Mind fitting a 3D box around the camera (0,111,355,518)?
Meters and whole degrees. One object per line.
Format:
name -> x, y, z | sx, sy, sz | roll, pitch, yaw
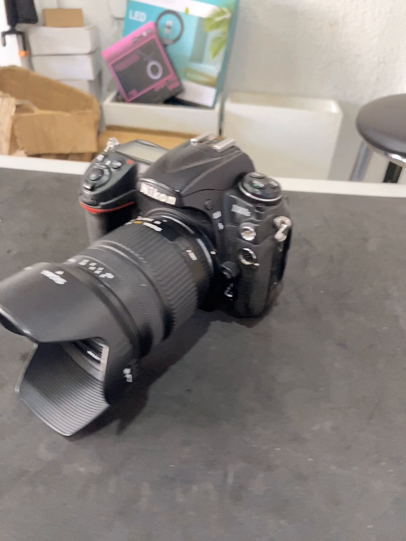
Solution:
camera -> -0.036, -0.006, 0.259 | 0.170, 0.109, 0.181 | 25, 42, 29
